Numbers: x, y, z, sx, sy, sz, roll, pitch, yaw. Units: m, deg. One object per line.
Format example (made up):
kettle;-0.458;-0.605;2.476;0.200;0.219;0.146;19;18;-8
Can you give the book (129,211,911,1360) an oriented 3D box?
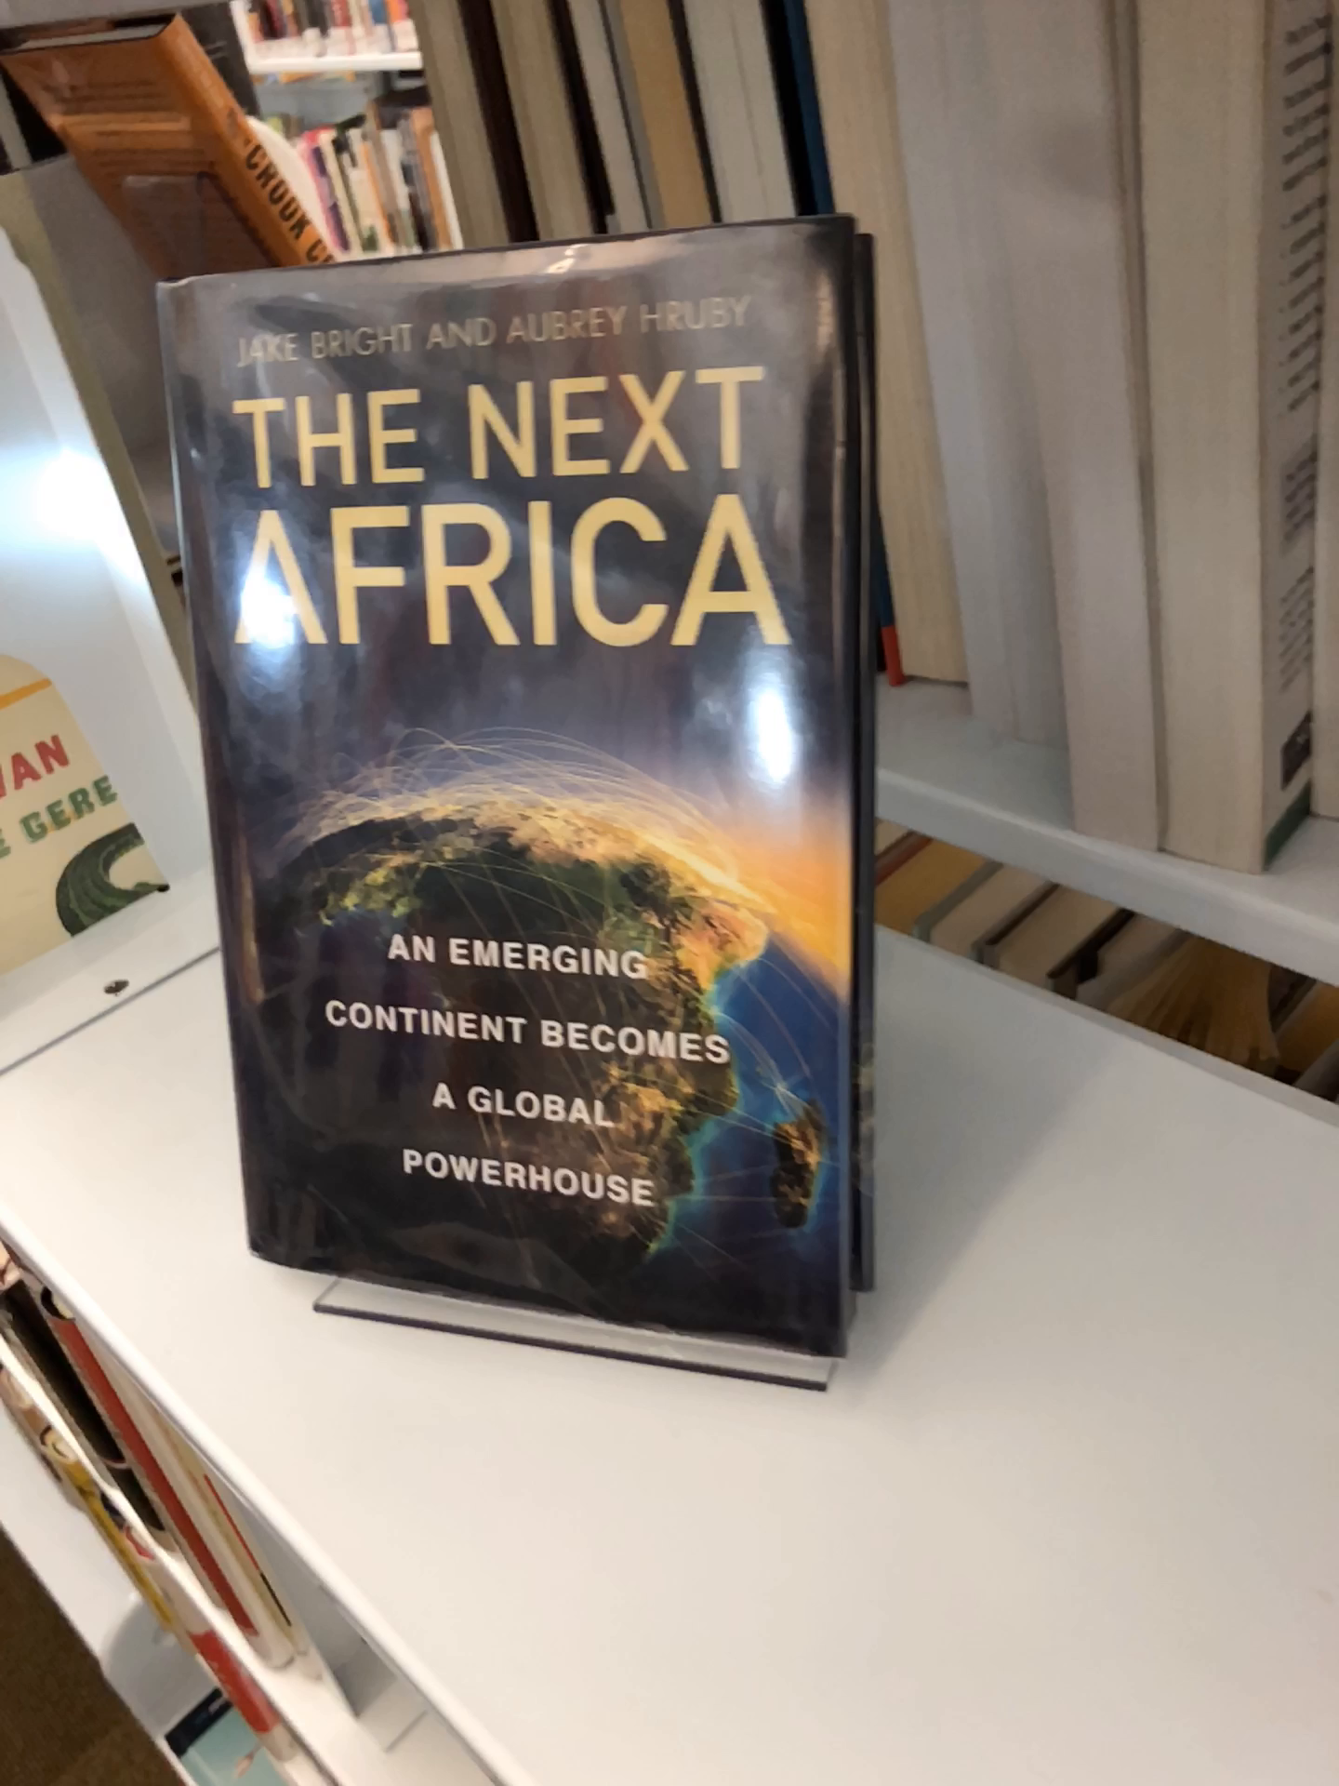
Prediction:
book;-0.030;-0.018;0.312;0.153;0.211;0.030;4;13;20
